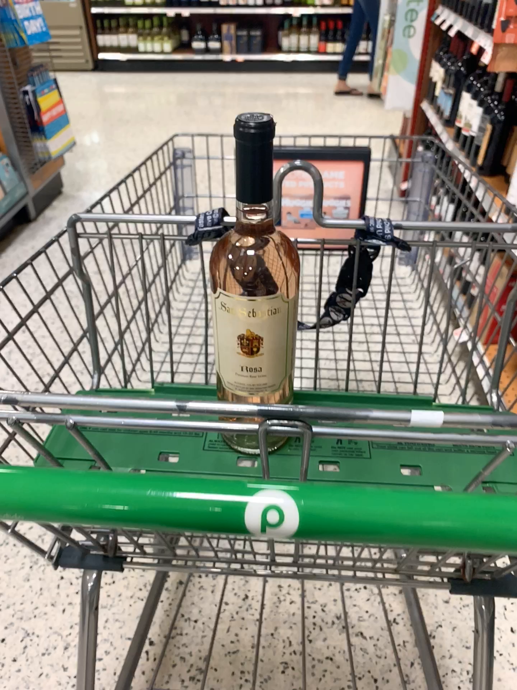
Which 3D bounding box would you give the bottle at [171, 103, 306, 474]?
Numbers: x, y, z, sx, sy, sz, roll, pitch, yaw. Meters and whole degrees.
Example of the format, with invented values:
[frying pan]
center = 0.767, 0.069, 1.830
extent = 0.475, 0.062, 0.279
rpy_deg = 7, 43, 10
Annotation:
[bottle]
center = -0.008, -0.029, 0.464
extent = 0.083, 0.315, 0.087
rpy_deg = -1, 37, 0
